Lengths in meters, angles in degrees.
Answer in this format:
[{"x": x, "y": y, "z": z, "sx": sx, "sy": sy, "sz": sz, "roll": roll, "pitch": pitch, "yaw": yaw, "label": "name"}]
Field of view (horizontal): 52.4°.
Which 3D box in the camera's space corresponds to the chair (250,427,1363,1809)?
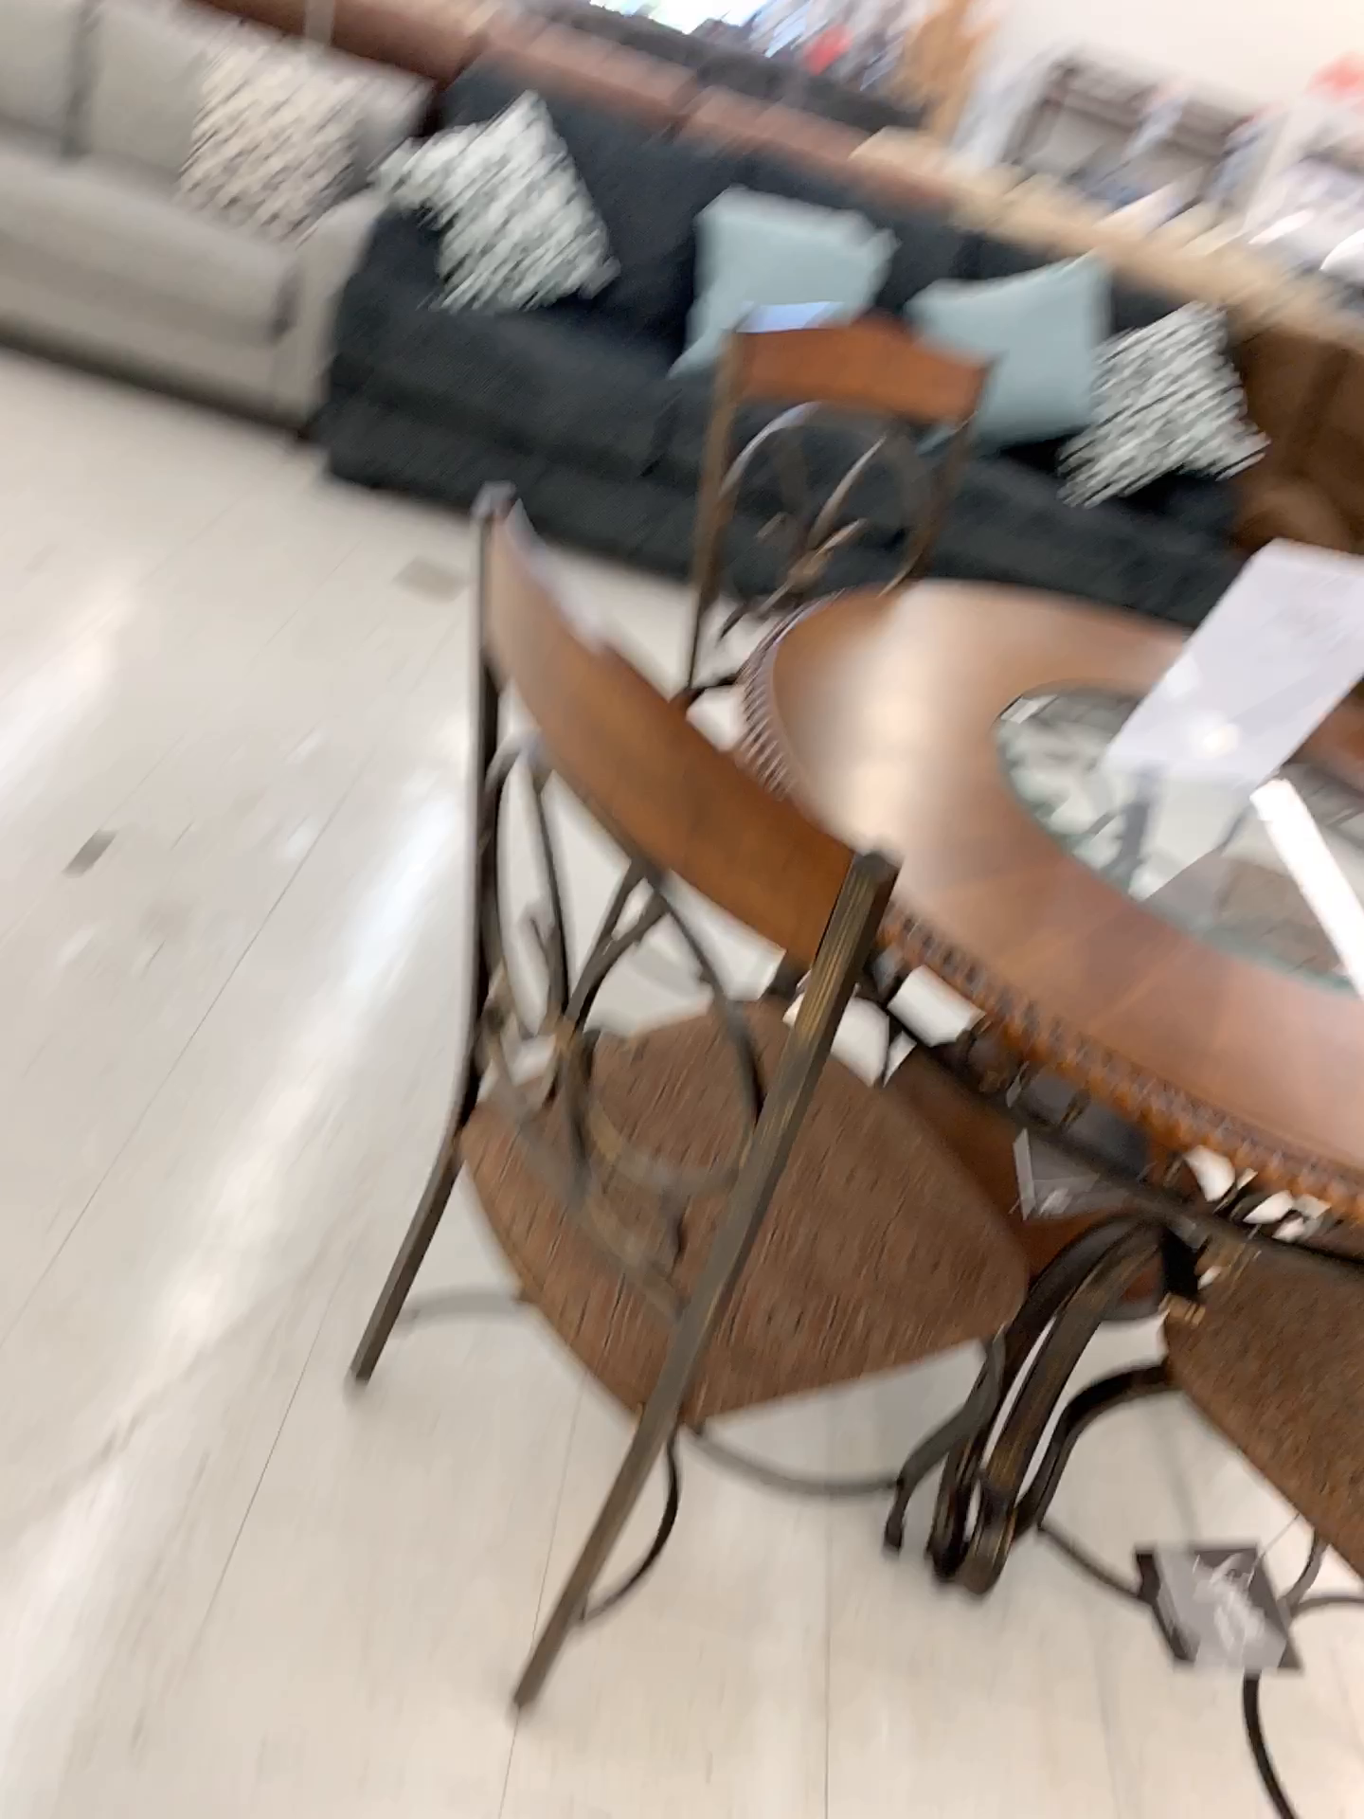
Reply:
[{"x": 0.043, "y": 0.180, "z": 1.227, "sx": 0.581, "sy": 0.975, "sz": 0.522, "roll": -7, "pitch": 41, "yaw": -35, "label": "chair"}]
